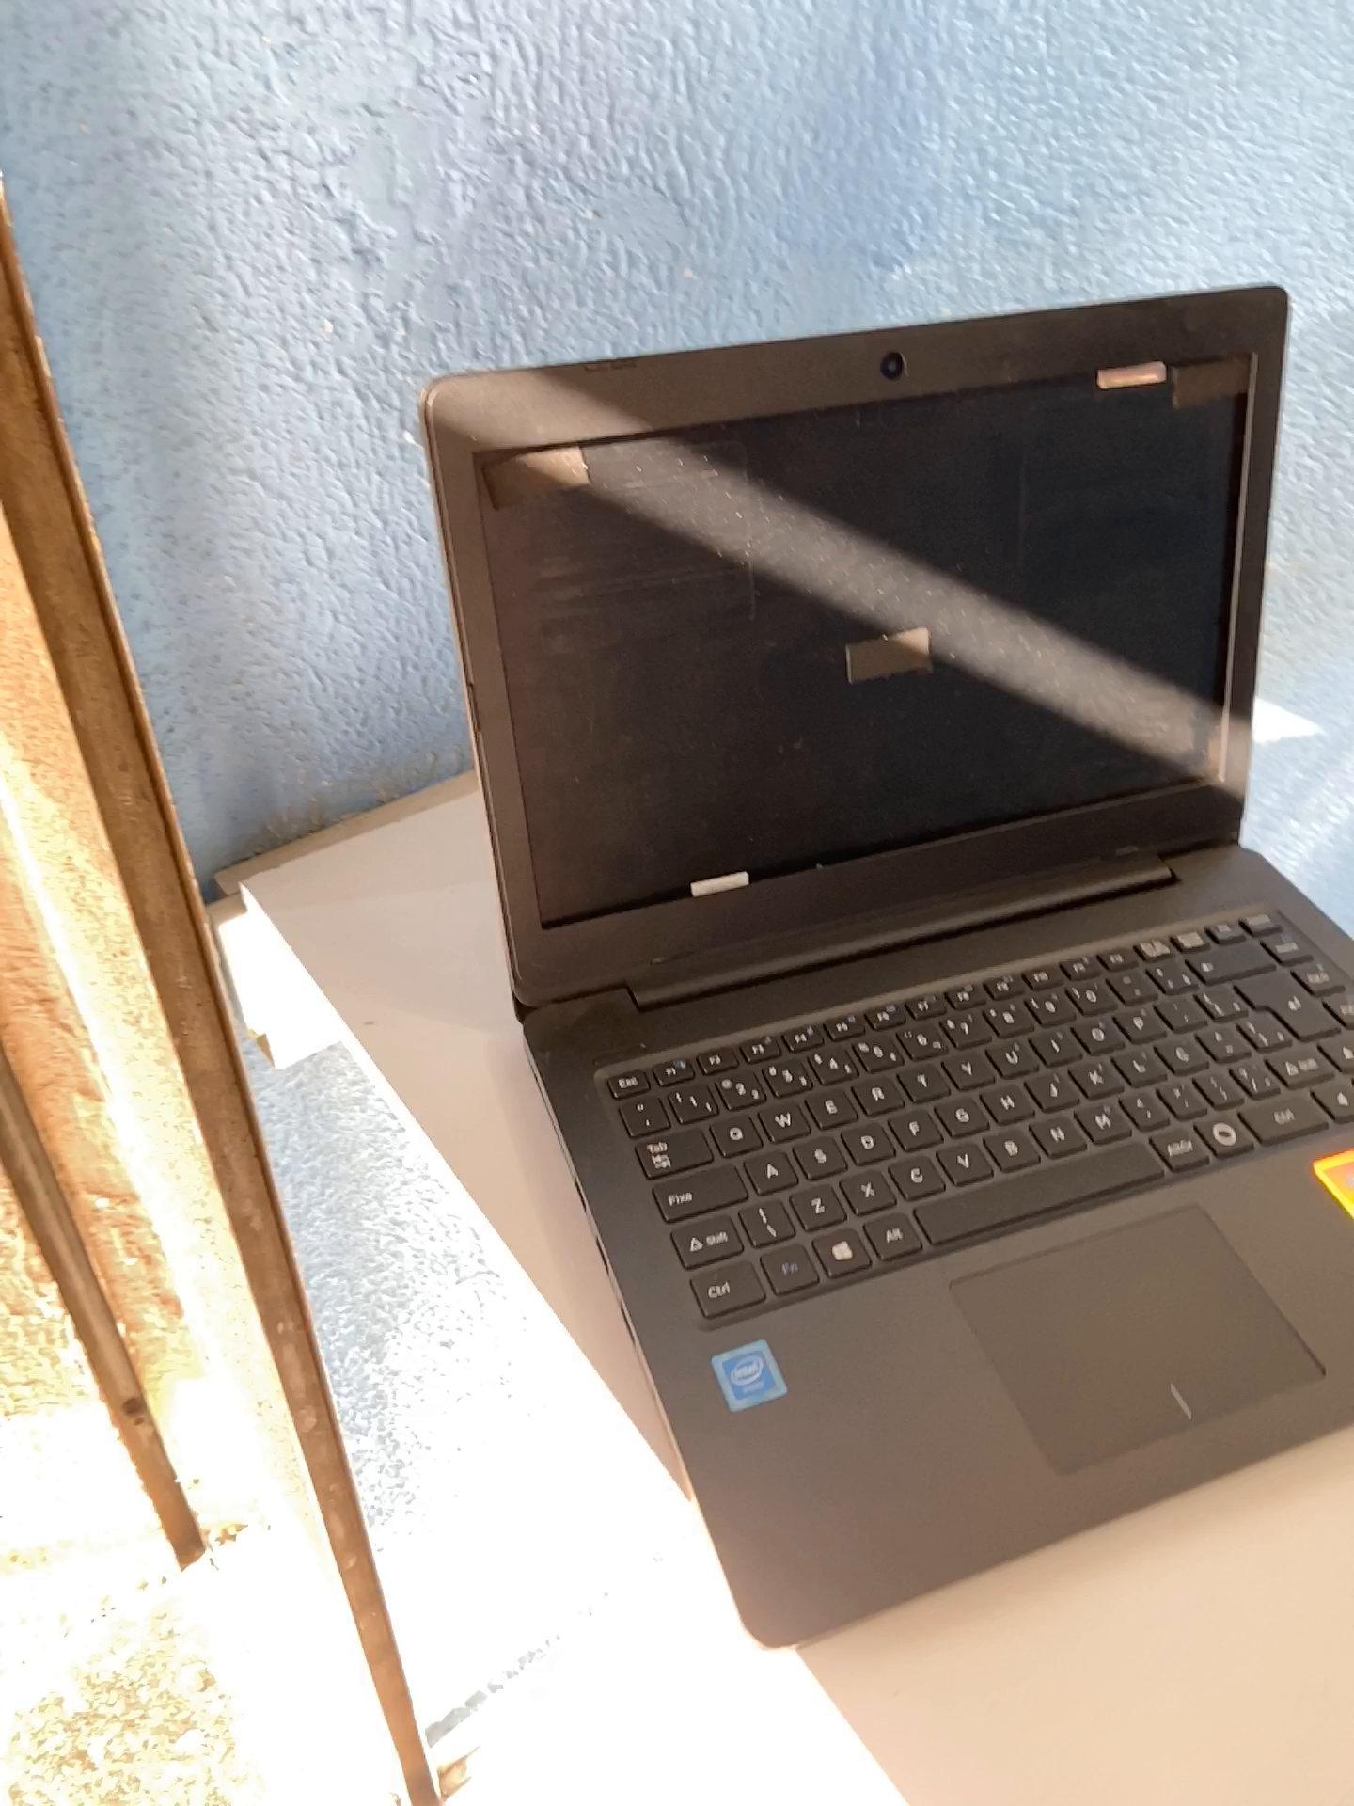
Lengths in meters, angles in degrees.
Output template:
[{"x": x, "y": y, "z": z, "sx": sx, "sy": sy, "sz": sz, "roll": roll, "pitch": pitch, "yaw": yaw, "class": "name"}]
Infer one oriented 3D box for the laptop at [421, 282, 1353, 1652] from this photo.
[{"x": 0.127, "y": -0.023, "z": 0.448, "sx": 0.338, "sy": 0.214, "sz": 0.311, "roll": -13, "pitch": 43, "yaw": -16, "class": "laptop"}]
